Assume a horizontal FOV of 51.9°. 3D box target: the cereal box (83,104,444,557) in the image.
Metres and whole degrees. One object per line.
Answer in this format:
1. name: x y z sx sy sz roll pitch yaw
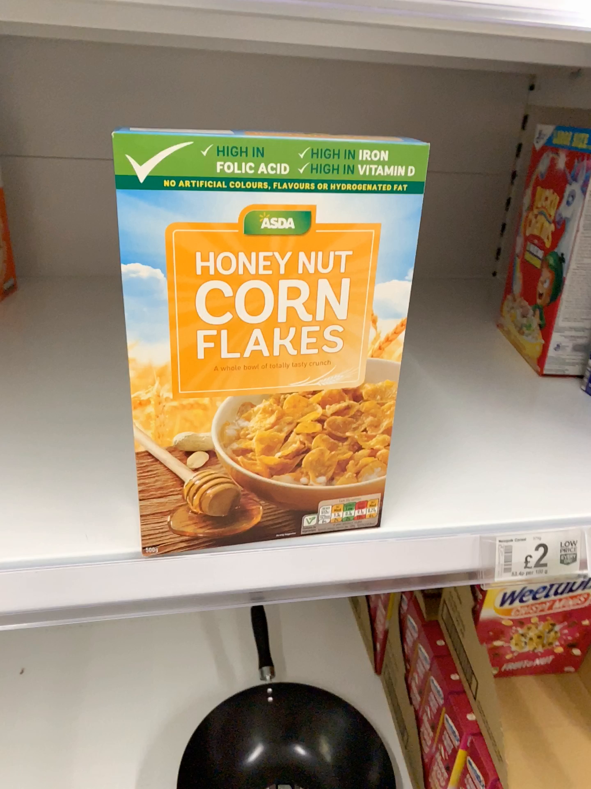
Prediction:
1. cereal box: -0.027 -0.036 0.423 0.200 0.287 0.071 -3 26 -14
